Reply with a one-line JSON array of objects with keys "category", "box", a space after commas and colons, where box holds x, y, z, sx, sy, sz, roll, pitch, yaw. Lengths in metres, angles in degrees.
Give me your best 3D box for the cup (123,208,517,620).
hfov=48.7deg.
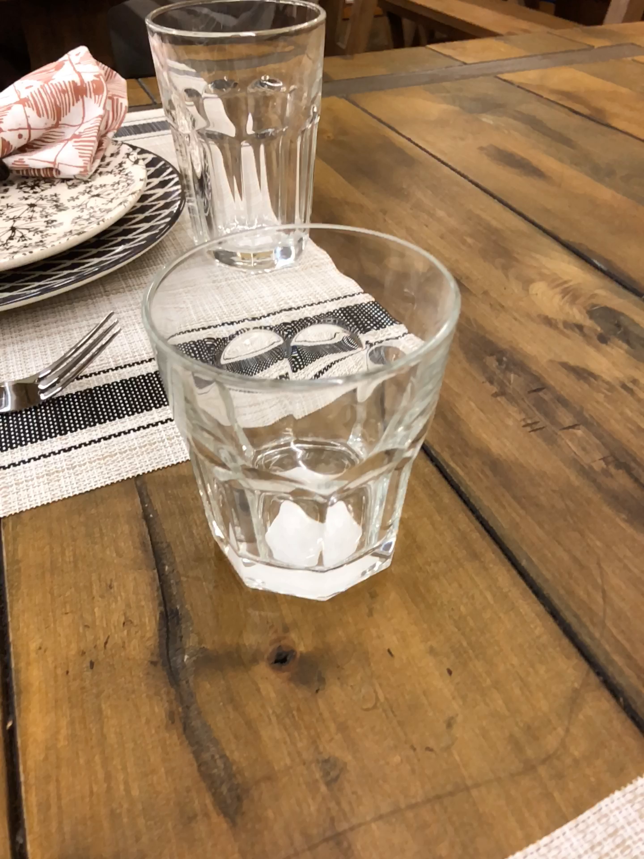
[{"category": "cup", "box": [-0.006, -0.009, 0.219, 0.090, 0.081, 0.087, 0, 39, 0]}]
